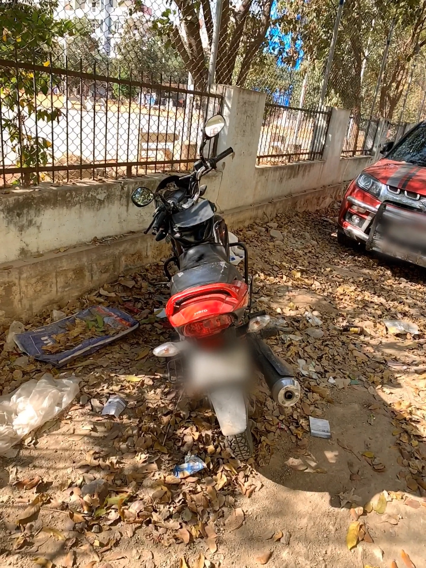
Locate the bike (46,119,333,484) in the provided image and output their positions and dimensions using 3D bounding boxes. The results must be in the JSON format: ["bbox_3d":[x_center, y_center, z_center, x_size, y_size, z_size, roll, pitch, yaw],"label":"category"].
[{"bbox_3d":[-0.186,-0.057,1.995,0.822,1.067,1.295,3,25,-10],"label":"bike"}]
